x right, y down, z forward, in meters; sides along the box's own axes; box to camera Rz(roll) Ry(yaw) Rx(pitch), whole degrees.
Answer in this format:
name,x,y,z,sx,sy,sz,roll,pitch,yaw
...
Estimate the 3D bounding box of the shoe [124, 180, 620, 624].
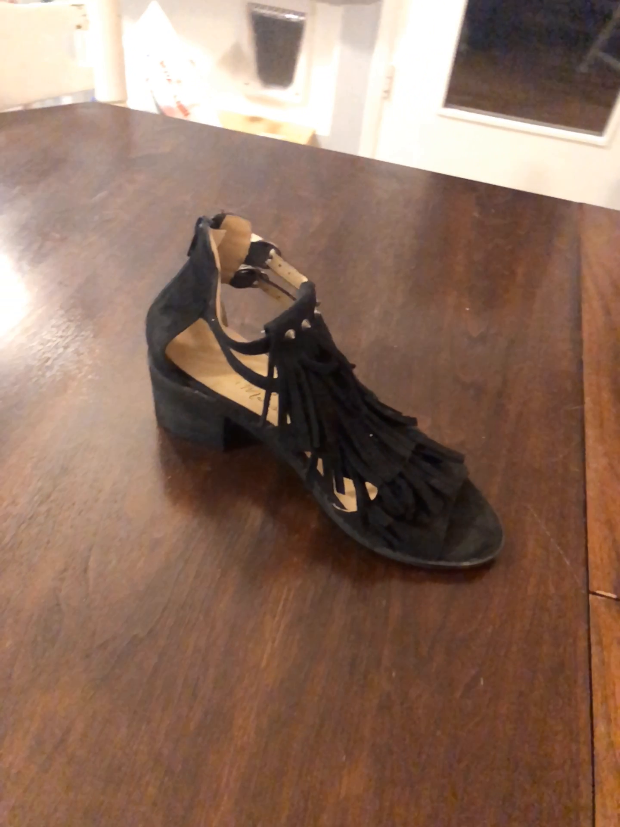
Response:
name,x,y,z,sx,sy,sz,roll,pitch,yaw
shoe,0.026,-0.011,0.404,0.240,0.150,0.100,25,48,17
